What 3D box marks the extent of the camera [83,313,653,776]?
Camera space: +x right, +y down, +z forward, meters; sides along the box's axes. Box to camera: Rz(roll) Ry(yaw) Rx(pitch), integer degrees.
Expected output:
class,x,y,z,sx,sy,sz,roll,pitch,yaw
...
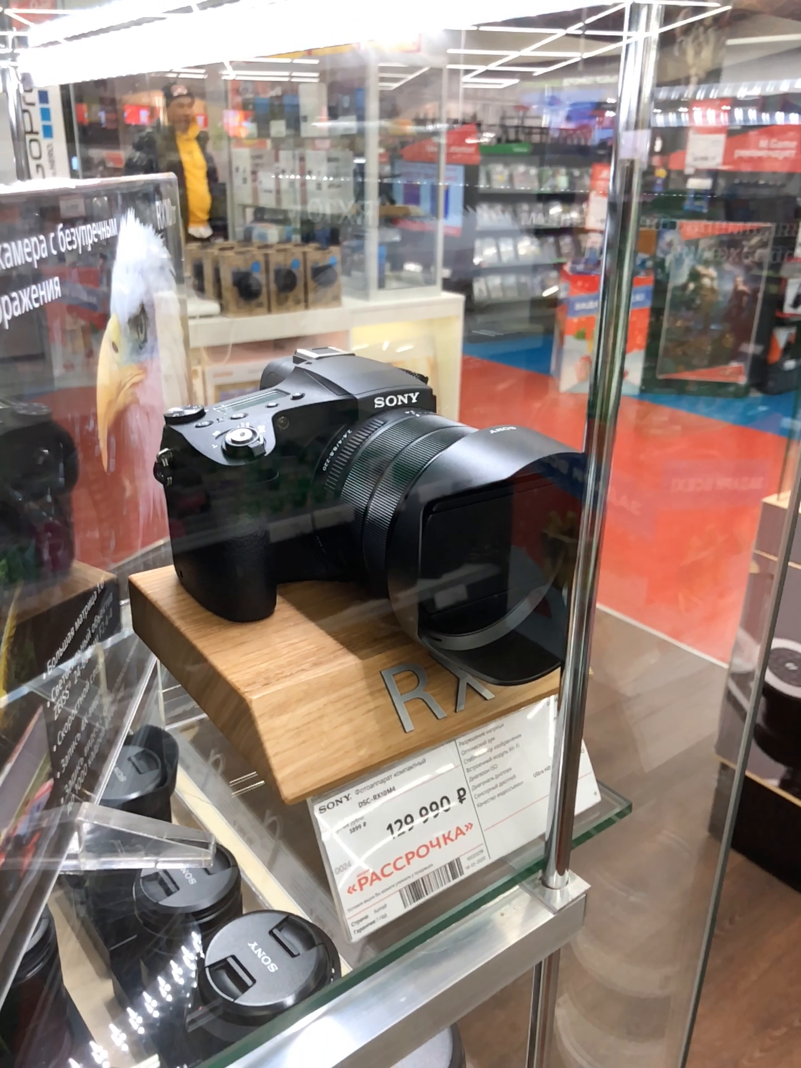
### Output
class,x,y,z,sx,sy,sz,roll,pitch,yaw
camera,-0.021,-0.017,0.341,0.126,0.099,0.178,-16,28,-36
